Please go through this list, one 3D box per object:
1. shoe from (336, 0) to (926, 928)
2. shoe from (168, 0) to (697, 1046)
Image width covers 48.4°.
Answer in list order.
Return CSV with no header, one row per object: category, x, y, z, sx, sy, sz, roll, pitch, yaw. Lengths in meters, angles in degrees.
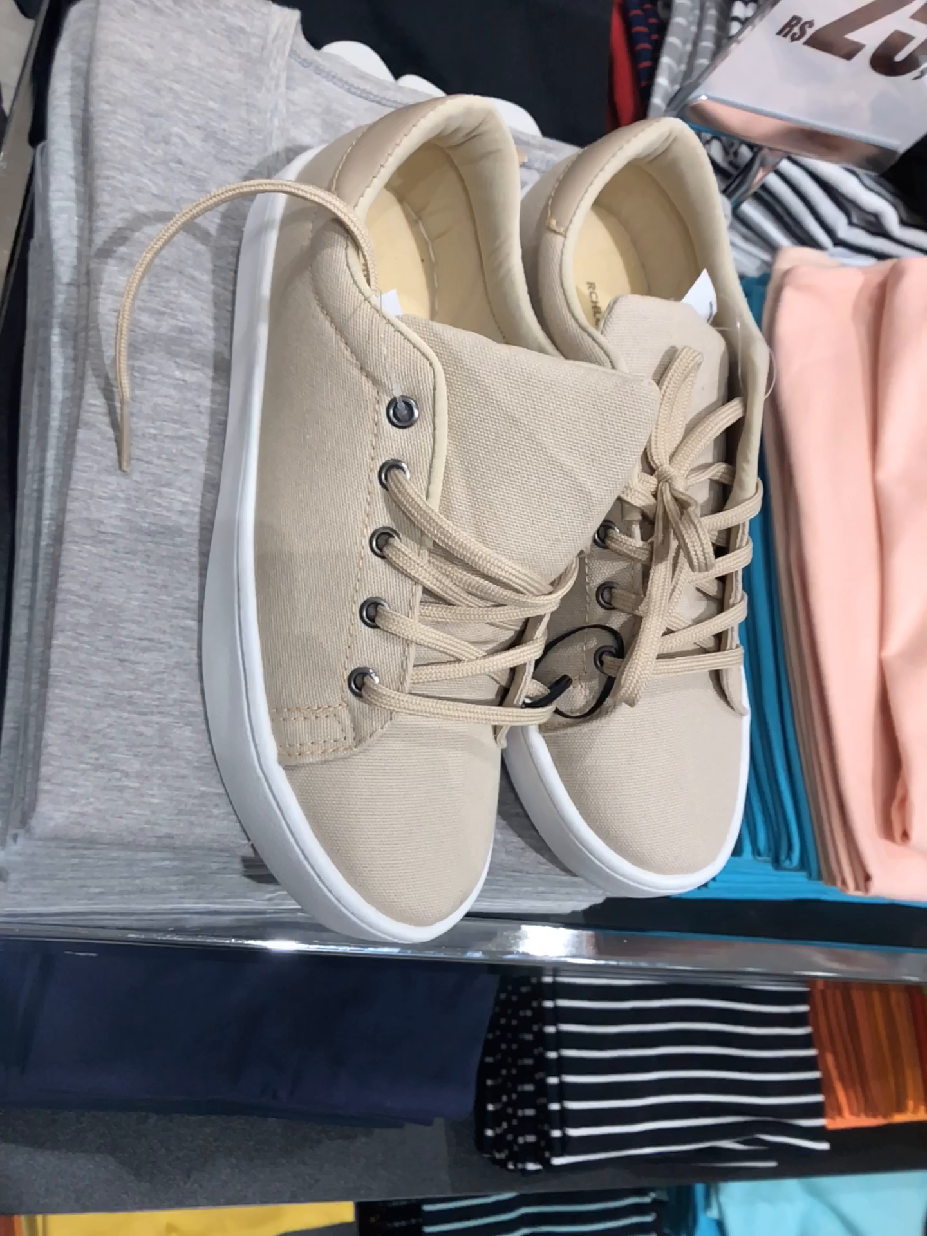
shoe,0.044,-0.056,0.356,0.110,0.109,0.291,0,69,-28
shoe,-0.017,-0.039,0.307,0.100,0.109,0.280,5,78,-36
